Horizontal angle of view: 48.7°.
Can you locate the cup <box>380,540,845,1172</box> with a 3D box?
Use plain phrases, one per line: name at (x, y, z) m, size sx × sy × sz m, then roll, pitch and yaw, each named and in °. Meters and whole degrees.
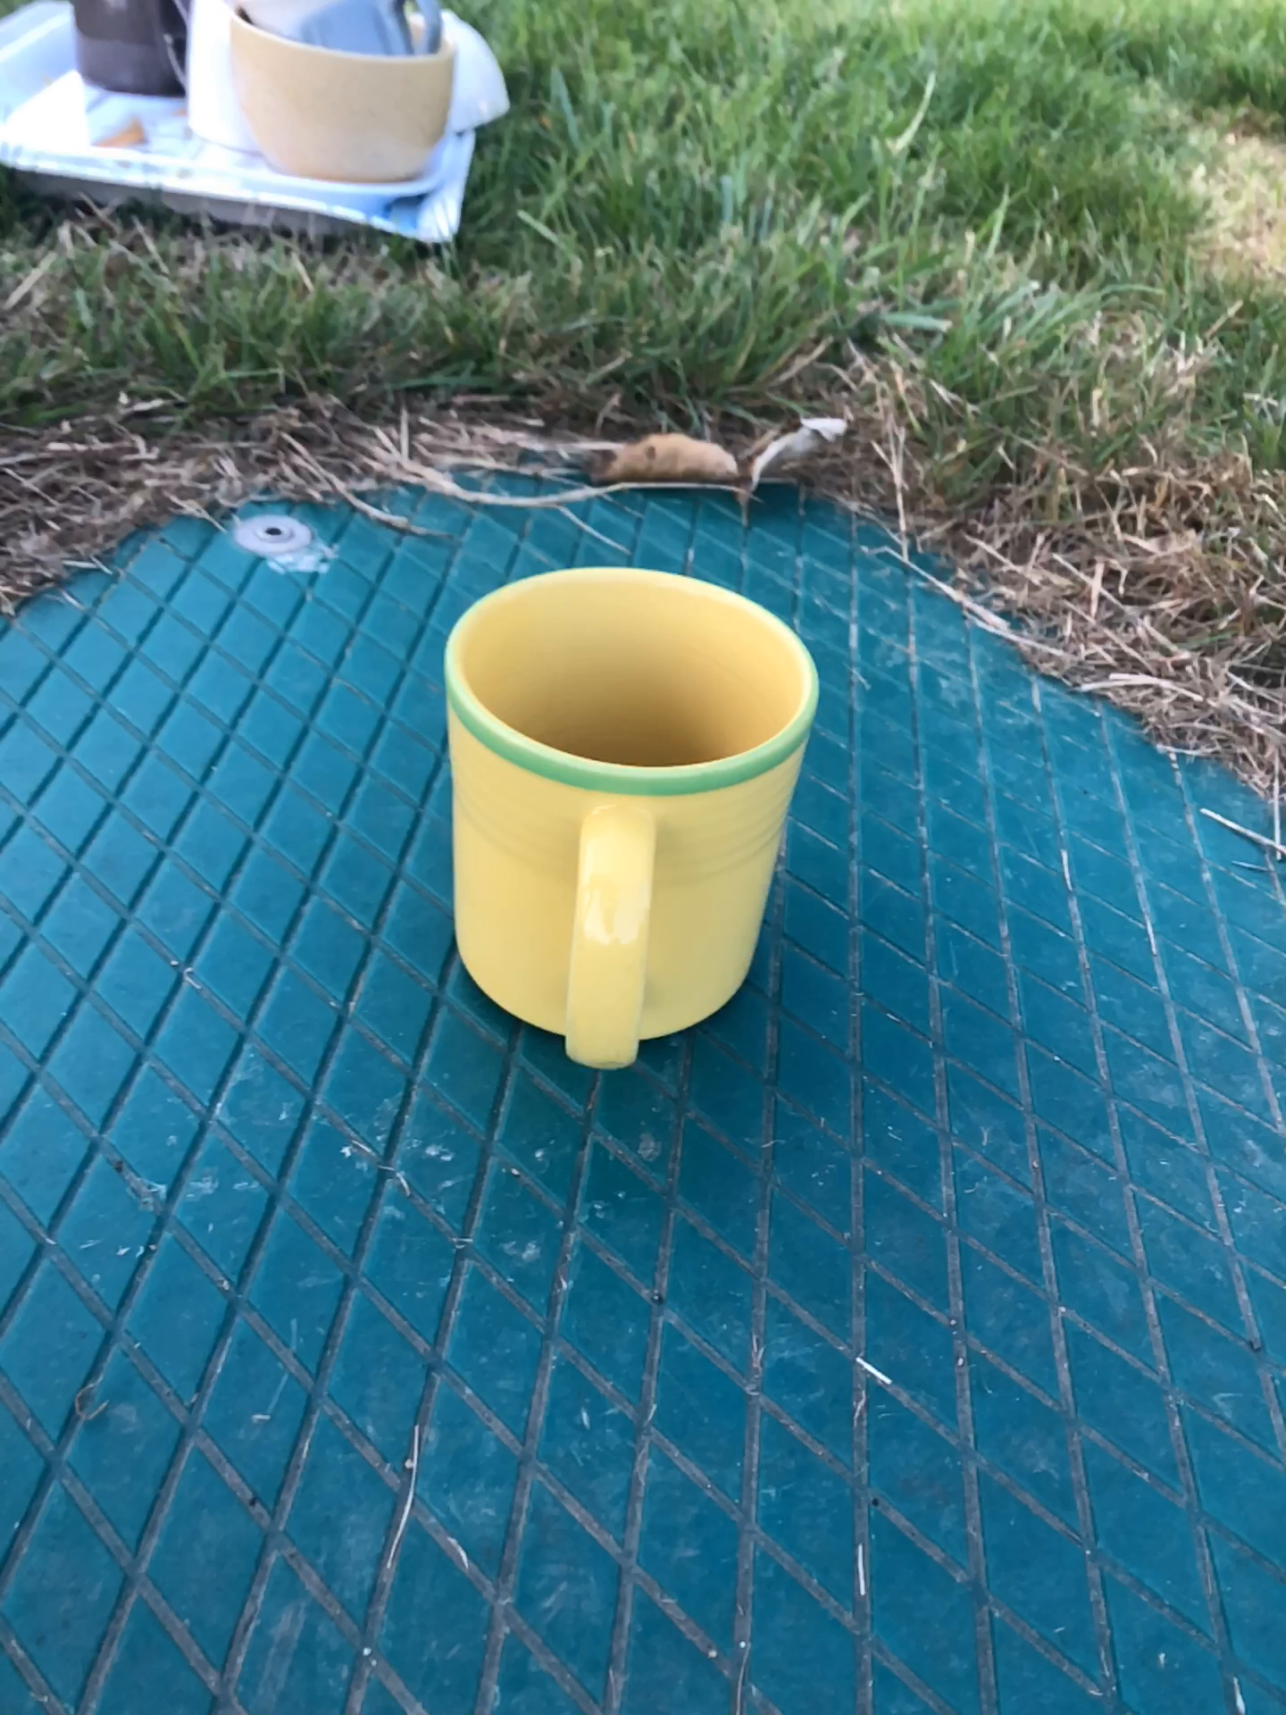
cup at (-0.007, -0.004, 0.335) m, size 0.086 × 0.089 × 0.115 m, roll 5°, pitch 38°, yaw -1°
